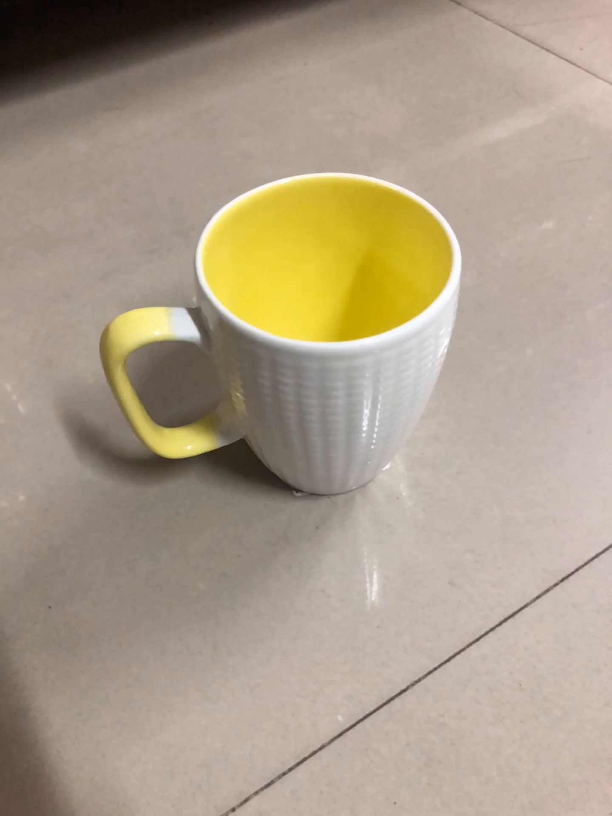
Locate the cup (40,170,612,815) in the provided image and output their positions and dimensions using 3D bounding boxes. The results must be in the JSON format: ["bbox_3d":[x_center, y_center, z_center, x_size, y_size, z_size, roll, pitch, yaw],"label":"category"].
[{"bbox_3d":[0.019,0.017,0.152,0.120,0.080,0.080,-17,53,-11],"label":"cup"}]
